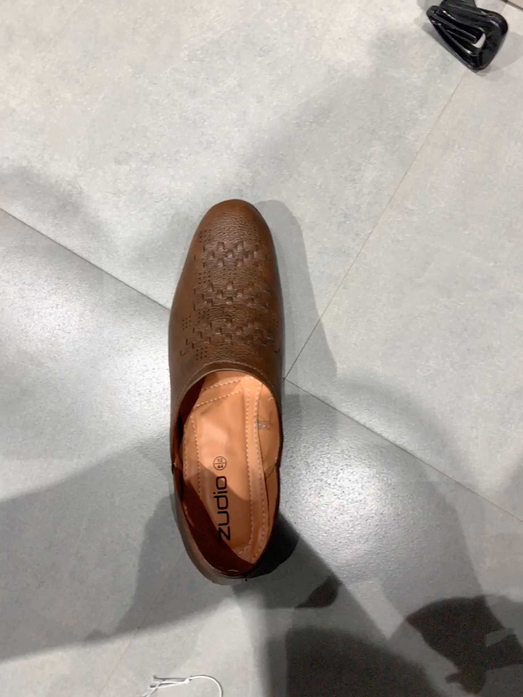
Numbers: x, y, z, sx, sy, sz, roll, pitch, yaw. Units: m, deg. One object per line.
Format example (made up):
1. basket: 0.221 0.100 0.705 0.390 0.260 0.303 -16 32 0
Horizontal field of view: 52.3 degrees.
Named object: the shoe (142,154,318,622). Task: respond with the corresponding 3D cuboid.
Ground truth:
1. shoe: -0.024 0.023 0.390 0.100 0.110 0.290 -2 85 -3
